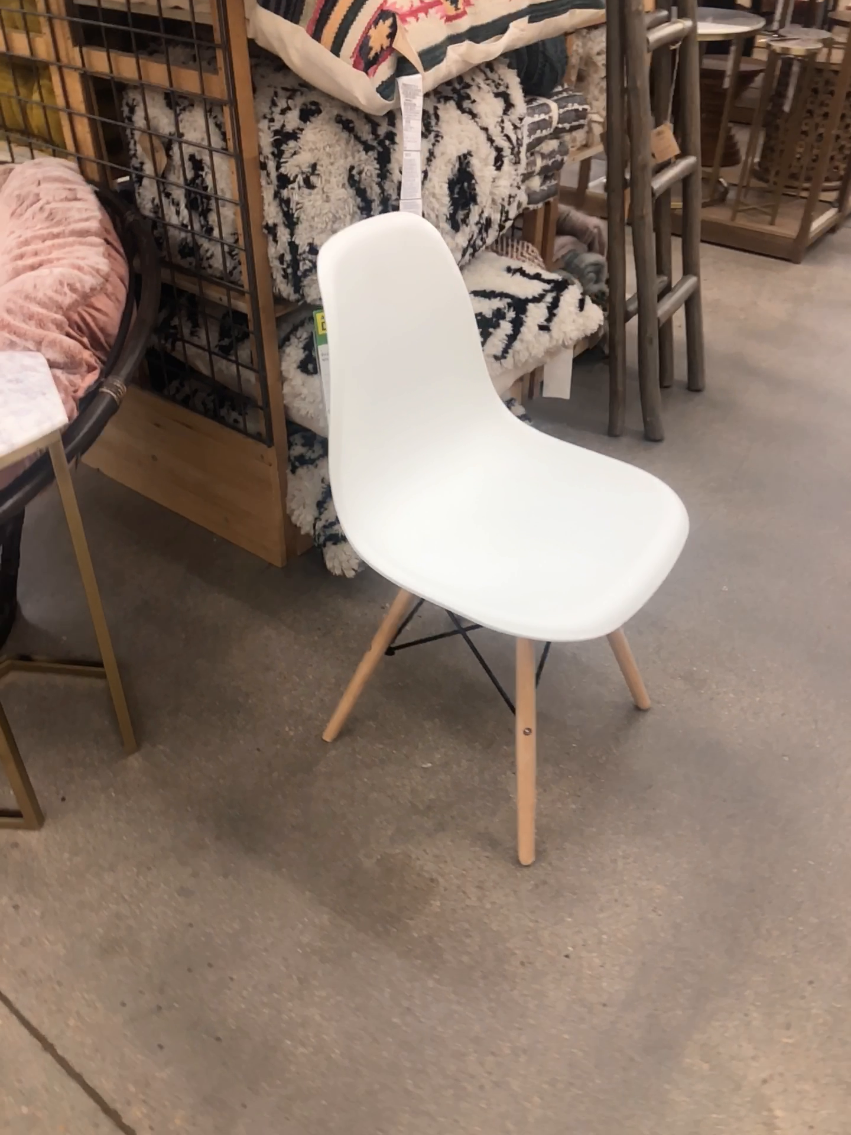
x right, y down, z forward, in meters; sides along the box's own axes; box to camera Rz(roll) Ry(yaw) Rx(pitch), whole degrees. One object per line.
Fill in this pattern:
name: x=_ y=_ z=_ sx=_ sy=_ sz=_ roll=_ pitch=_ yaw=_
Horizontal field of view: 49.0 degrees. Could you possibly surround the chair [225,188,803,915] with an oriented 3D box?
chair: x=0.106 y=-0.032 z=1.351 sx=0.531 sy=0.806 sz=0.442 roll=25 pitch=44 yaw=28
